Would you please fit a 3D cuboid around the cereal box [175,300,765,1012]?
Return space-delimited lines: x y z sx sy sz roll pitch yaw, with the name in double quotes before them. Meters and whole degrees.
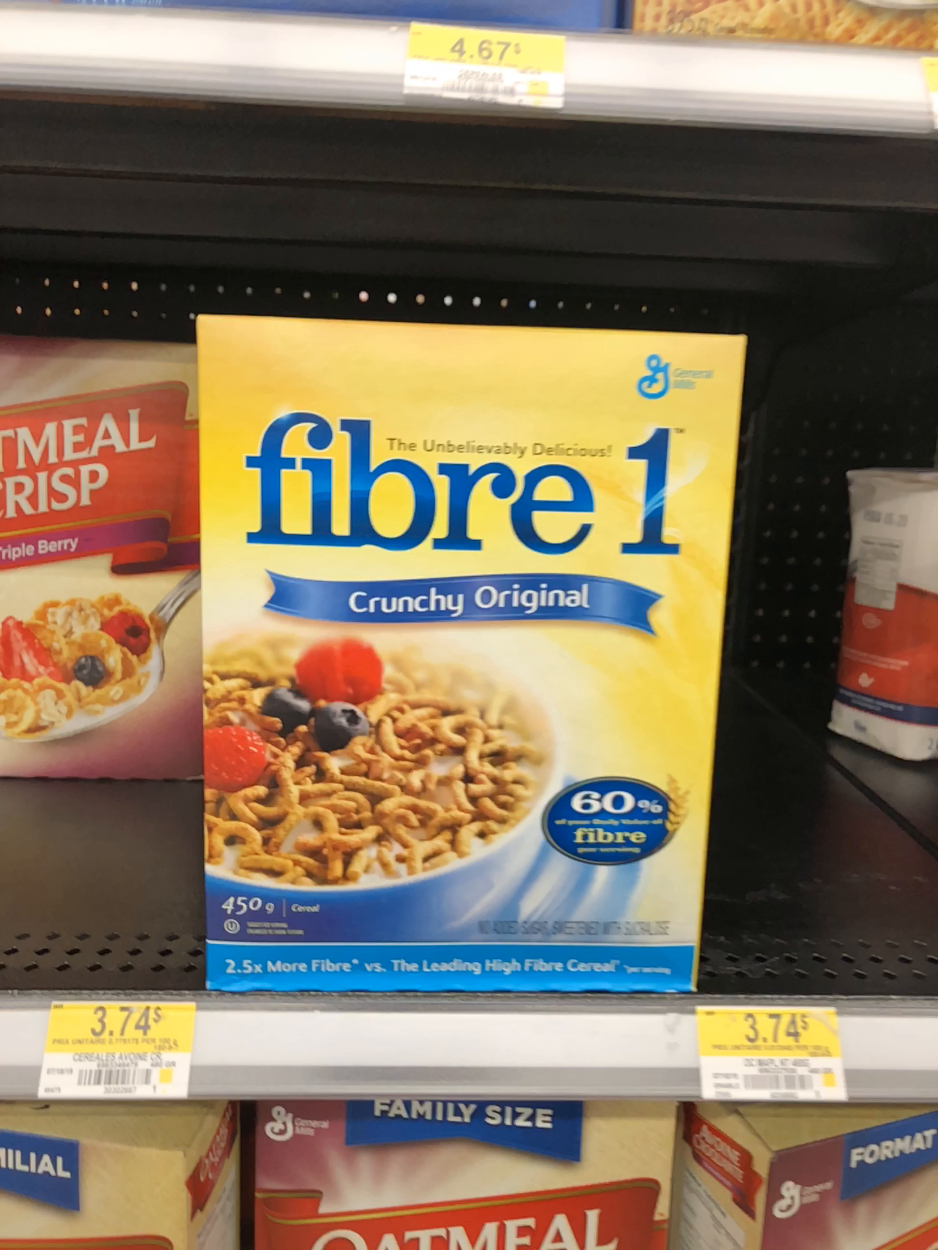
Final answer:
"cereal box" -0.004 0.015 0.406 0.200 0.259 0.060 2 11 -3
